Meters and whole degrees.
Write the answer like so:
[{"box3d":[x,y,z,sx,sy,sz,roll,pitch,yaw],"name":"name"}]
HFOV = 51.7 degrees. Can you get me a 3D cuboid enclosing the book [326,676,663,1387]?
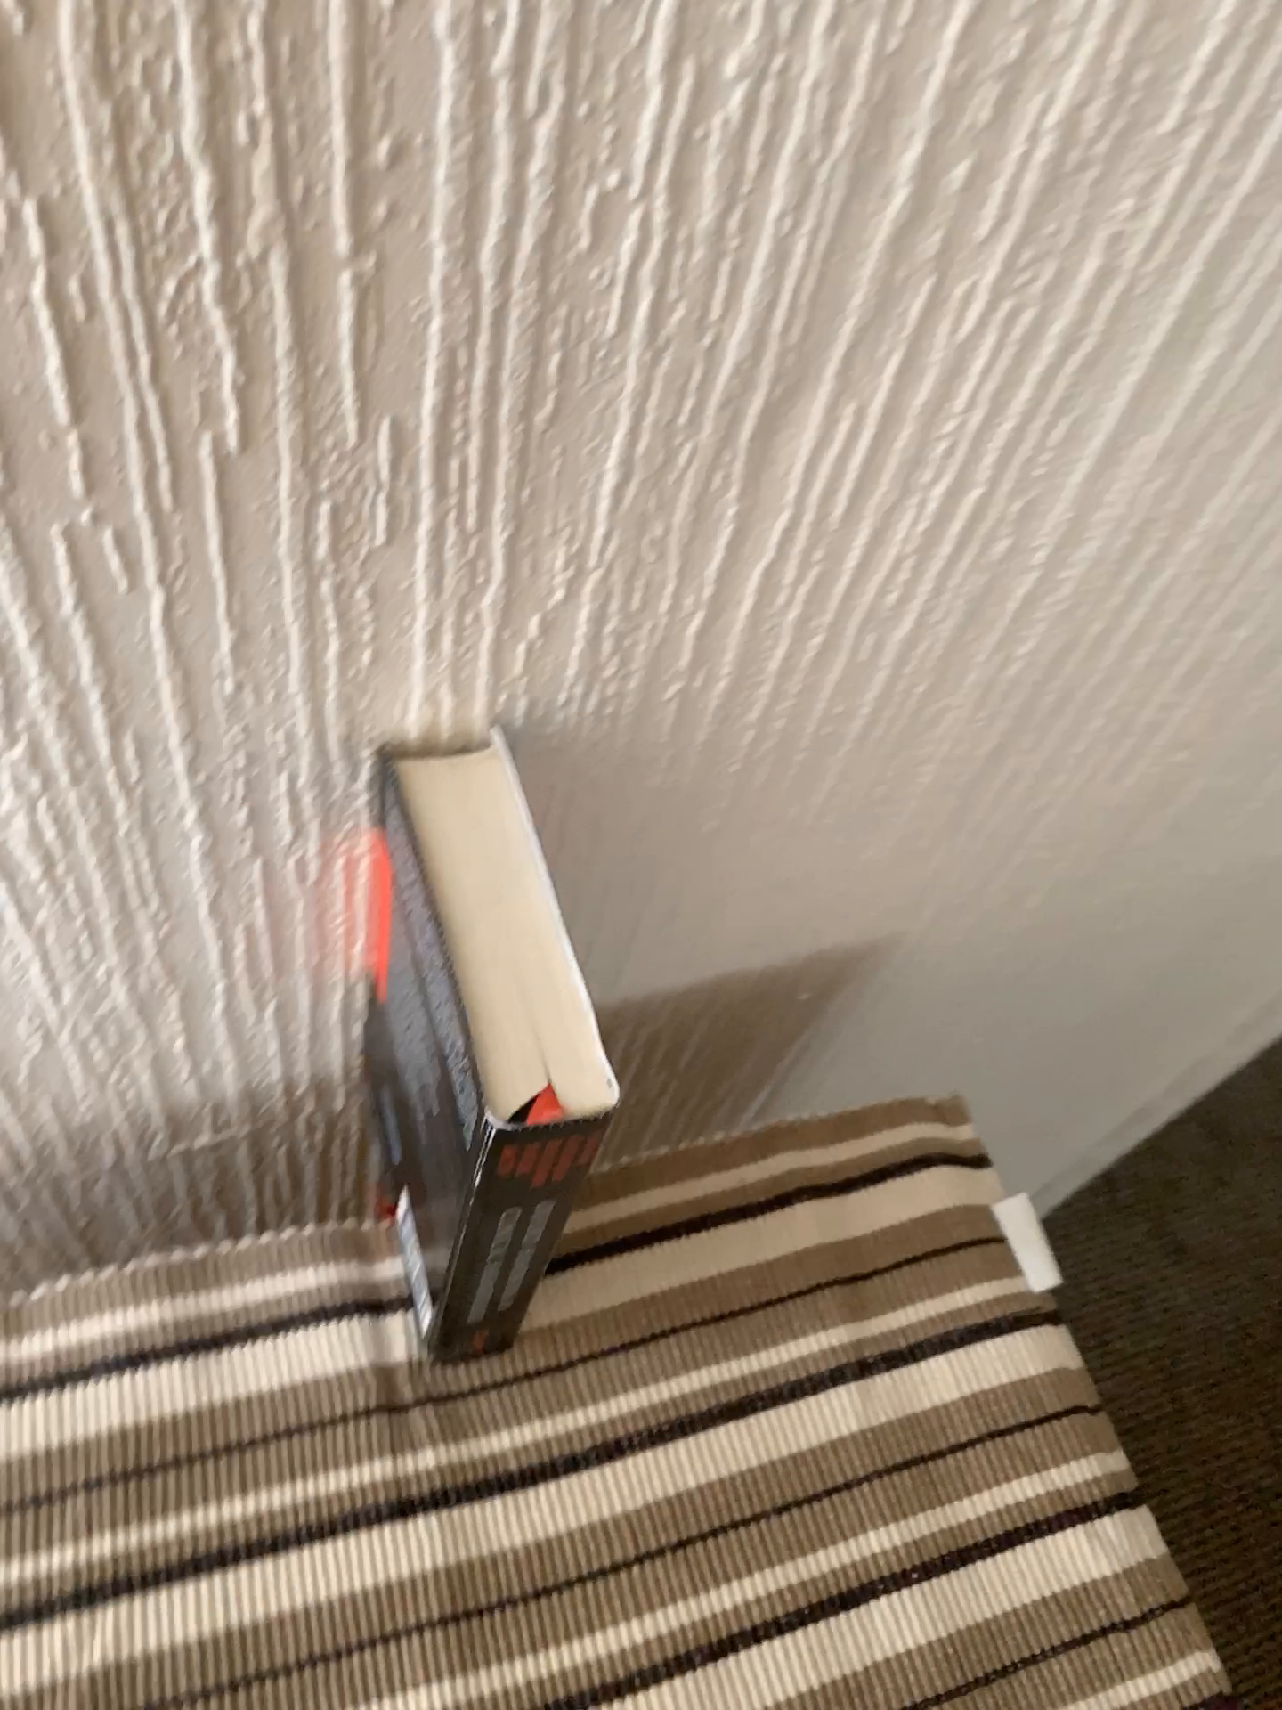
[{"box3d":[-0.053,0.060,0.369,0.040,0.188,0.121,-11,60,-20],"name":"book"}]
